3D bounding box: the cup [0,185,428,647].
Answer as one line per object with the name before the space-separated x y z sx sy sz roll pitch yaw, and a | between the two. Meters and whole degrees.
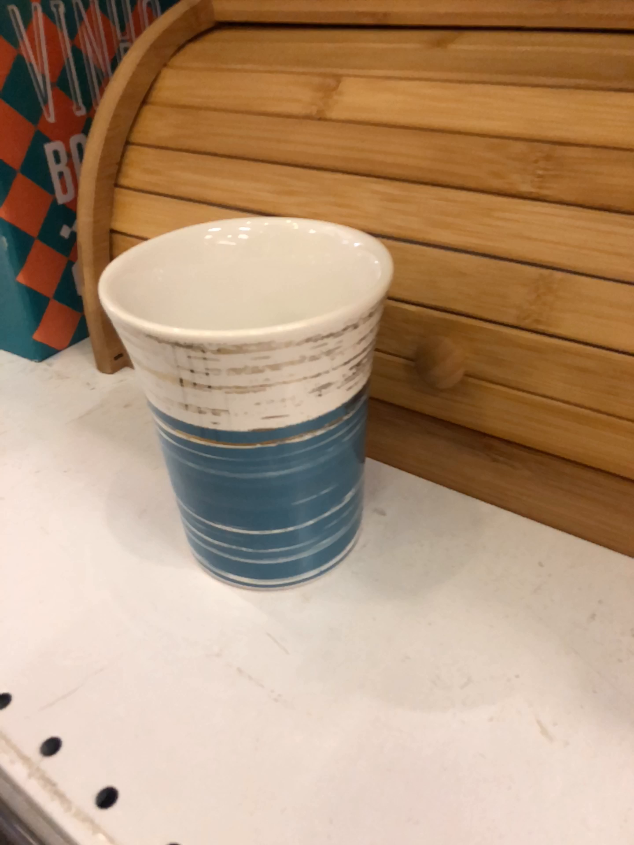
cup | -0.039 -0.014 0.240 0.090 0.089 0.121 -30 42 -33
